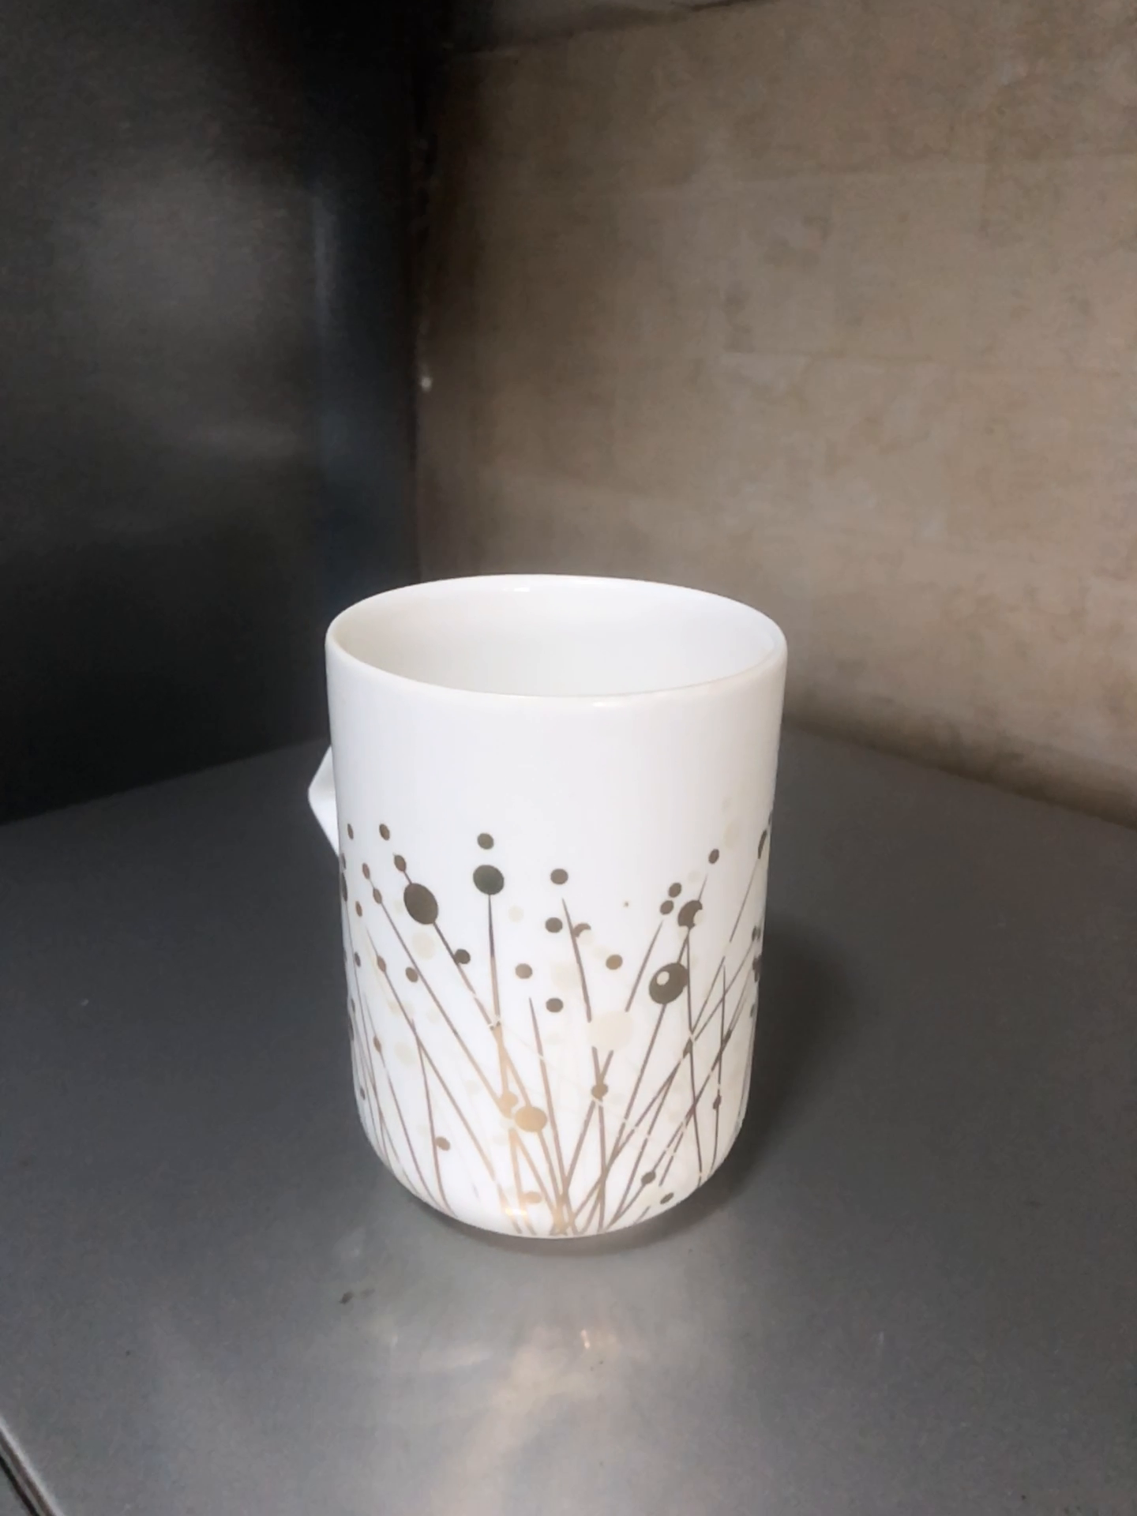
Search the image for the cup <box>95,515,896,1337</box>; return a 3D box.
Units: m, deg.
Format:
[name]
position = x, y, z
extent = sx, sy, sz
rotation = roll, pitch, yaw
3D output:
[cup]
position = -0.012, 0.017, 0.233
extent = 0.110, 0.099, 0.080
rotation = 14, 24, 32
